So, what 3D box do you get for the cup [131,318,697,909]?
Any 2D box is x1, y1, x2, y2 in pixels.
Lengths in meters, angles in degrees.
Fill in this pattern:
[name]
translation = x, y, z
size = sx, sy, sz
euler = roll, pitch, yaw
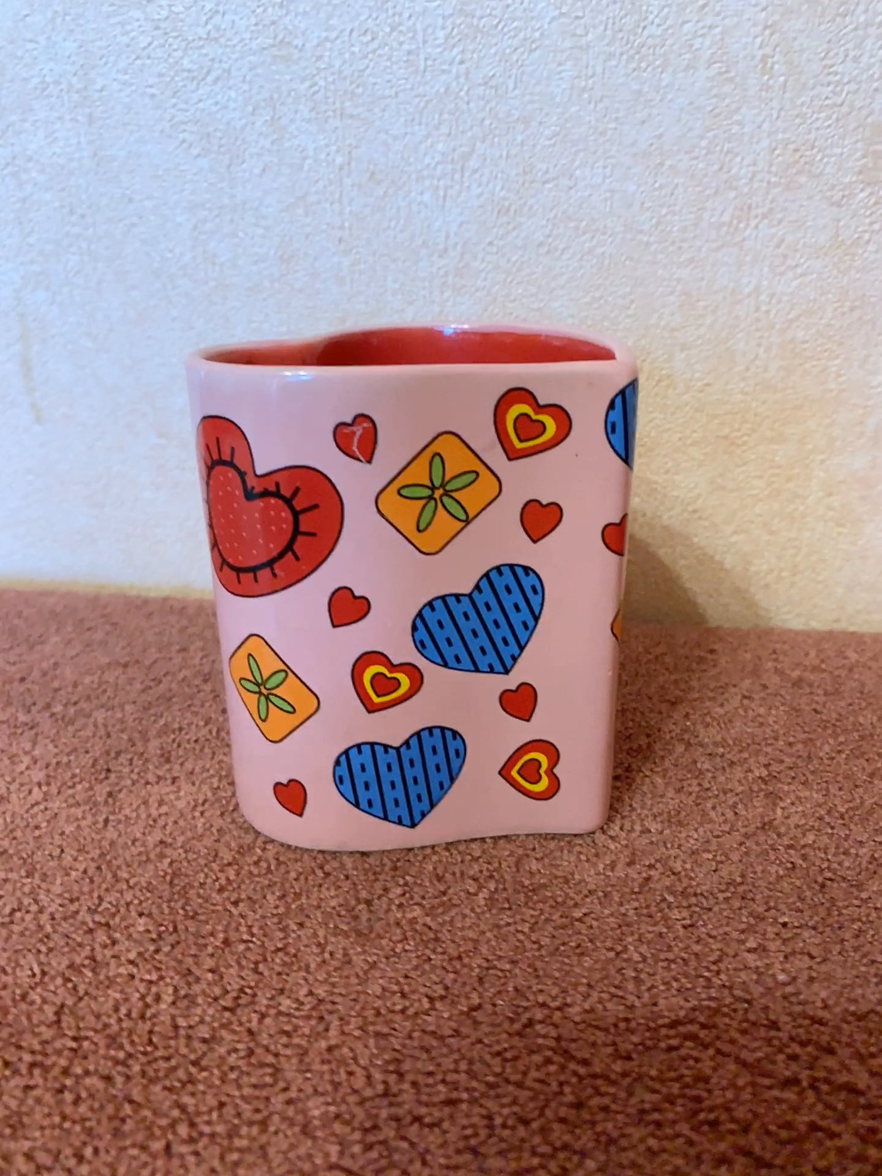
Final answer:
[cup]
translation = -0.009, -0.004, 0.191
size = 0.085, 0.091, 0.083
euler = -1, 21, 0
